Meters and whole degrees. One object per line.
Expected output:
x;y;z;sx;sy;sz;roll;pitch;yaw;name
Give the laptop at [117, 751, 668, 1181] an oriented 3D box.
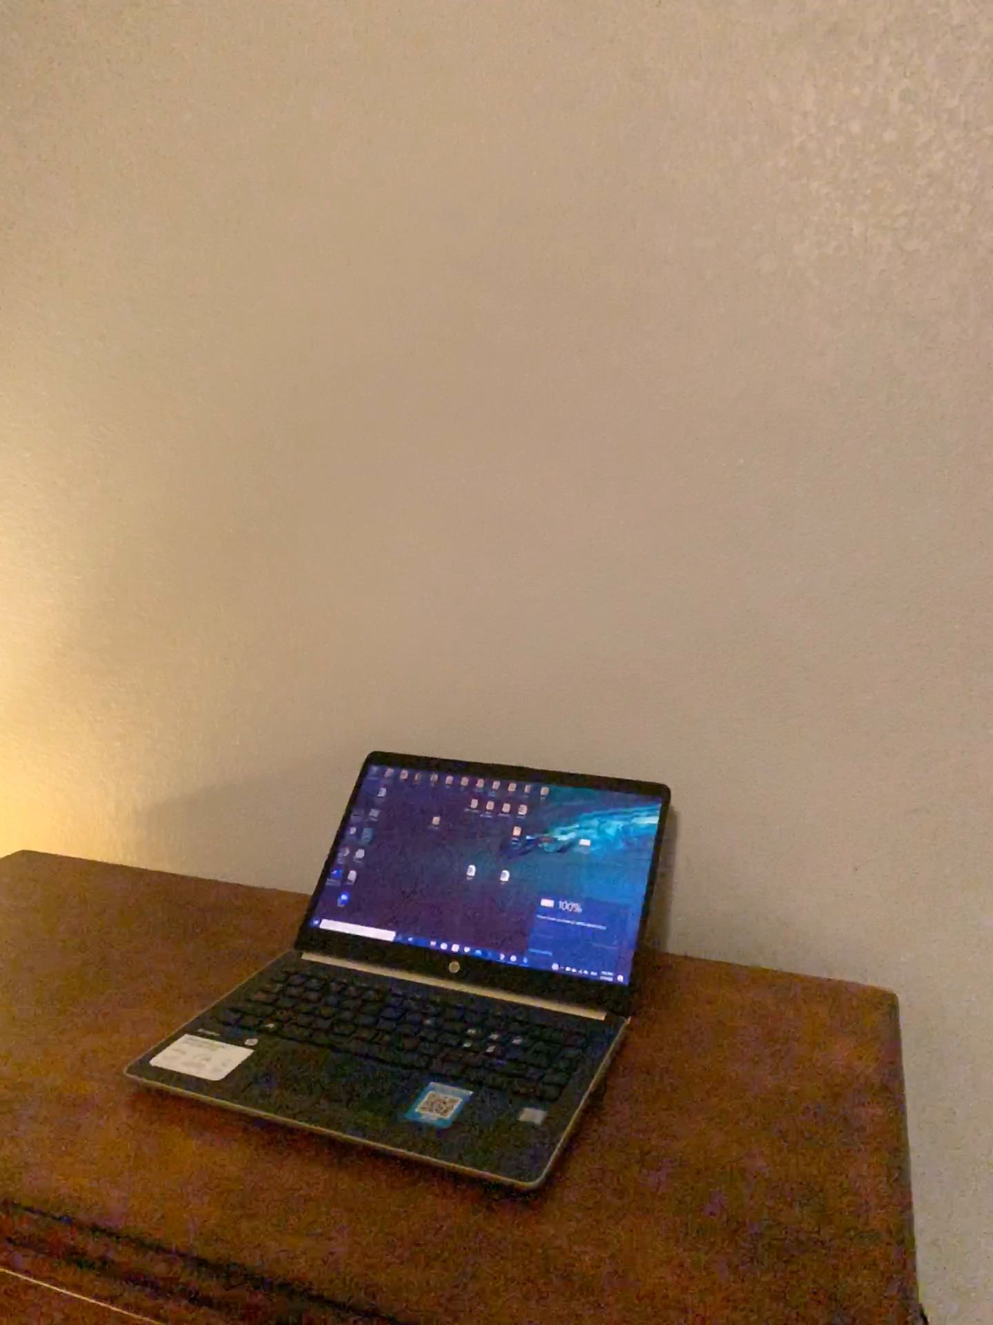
-0.056;0.205;0.844;0.317;0.152;0.368;4;9;21;laptop
